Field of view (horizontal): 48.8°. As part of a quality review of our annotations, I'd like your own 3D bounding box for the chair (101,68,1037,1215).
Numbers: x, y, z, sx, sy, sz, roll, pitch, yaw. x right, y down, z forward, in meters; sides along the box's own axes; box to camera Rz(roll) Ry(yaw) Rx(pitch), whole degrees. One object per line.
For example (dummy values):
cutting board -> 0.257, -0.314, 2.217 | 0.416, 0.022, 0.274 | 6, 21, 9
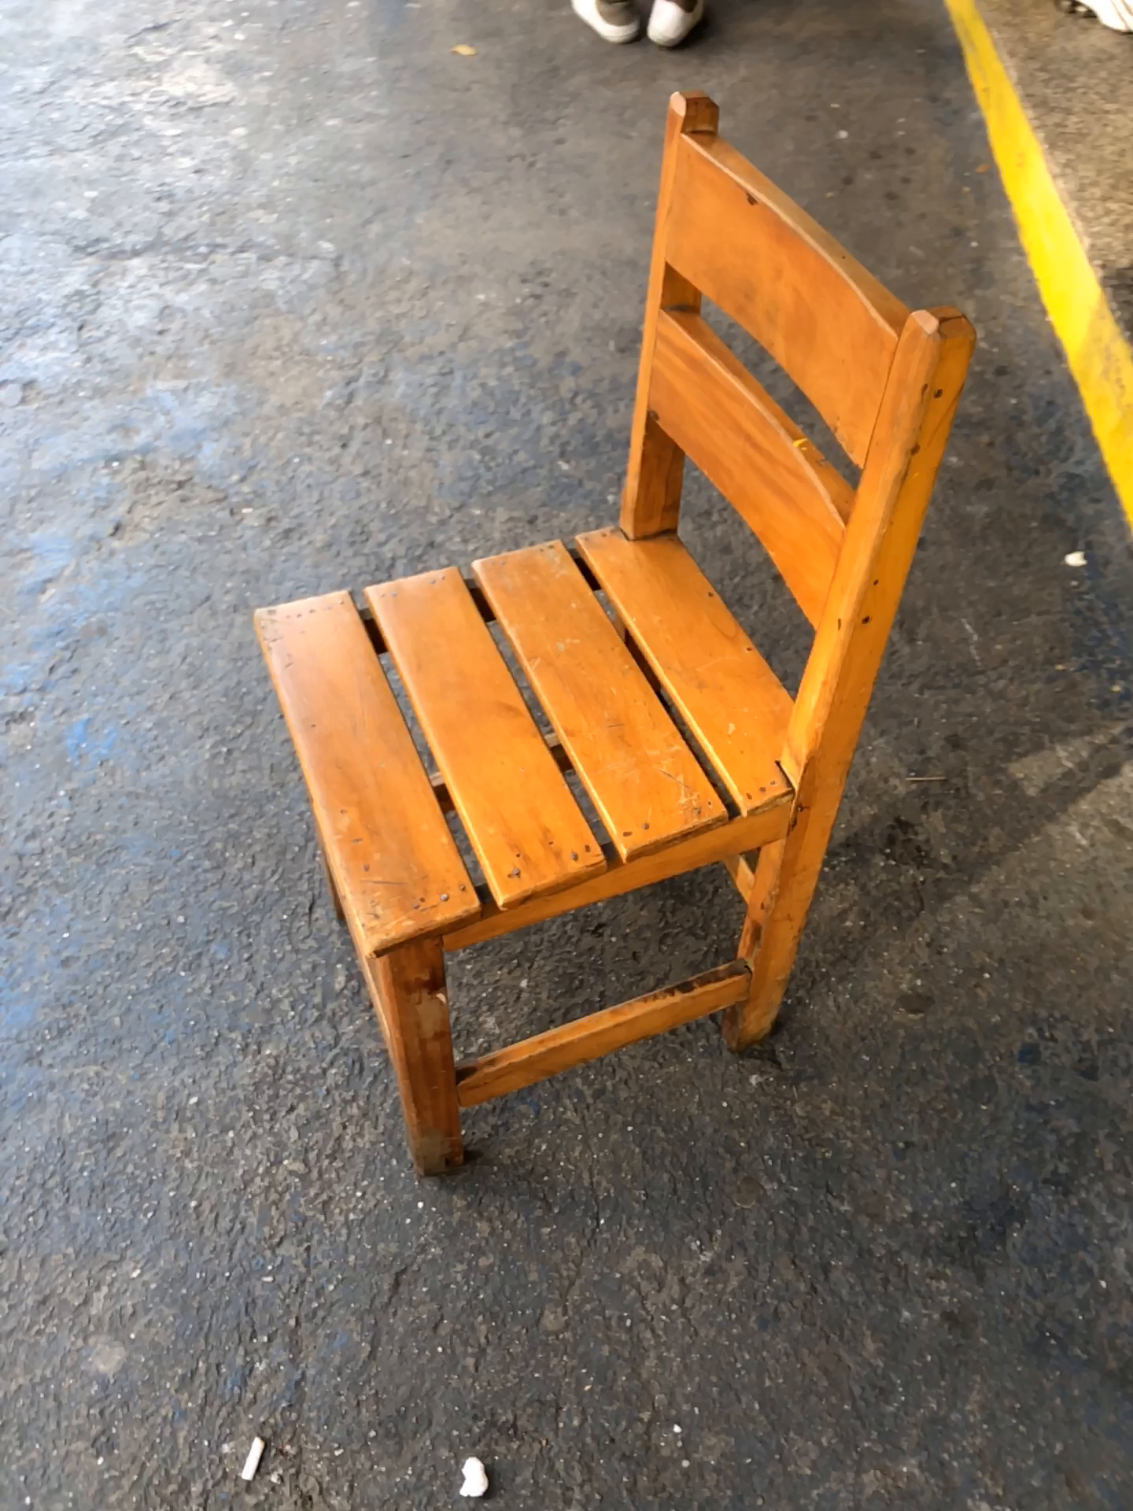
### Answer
chair -> -0.025, -0.038, 1.040 | 0.440, 0.805, 0.402 | -16, 50, -13
